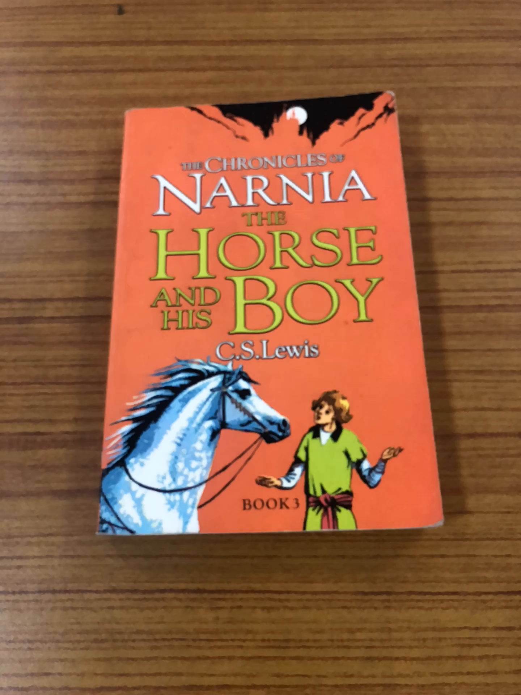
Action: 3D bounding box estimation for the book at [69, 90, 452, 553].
[{"bbox_3d":[-0.002,-0.017,0.245,0.130,0.030,0.190,-1,71,1],"label":"book"}]
